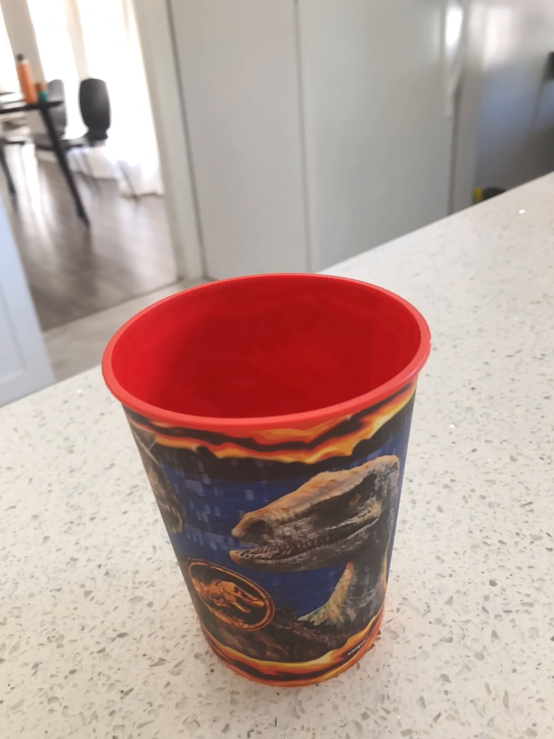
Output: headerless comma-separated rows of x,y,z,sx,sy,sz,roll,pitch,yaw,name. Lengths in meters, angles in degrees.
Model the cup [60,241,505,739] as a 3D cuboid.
0.000,0.033,0.198,0.090,0.110,0.090,-4,29,2,cup
